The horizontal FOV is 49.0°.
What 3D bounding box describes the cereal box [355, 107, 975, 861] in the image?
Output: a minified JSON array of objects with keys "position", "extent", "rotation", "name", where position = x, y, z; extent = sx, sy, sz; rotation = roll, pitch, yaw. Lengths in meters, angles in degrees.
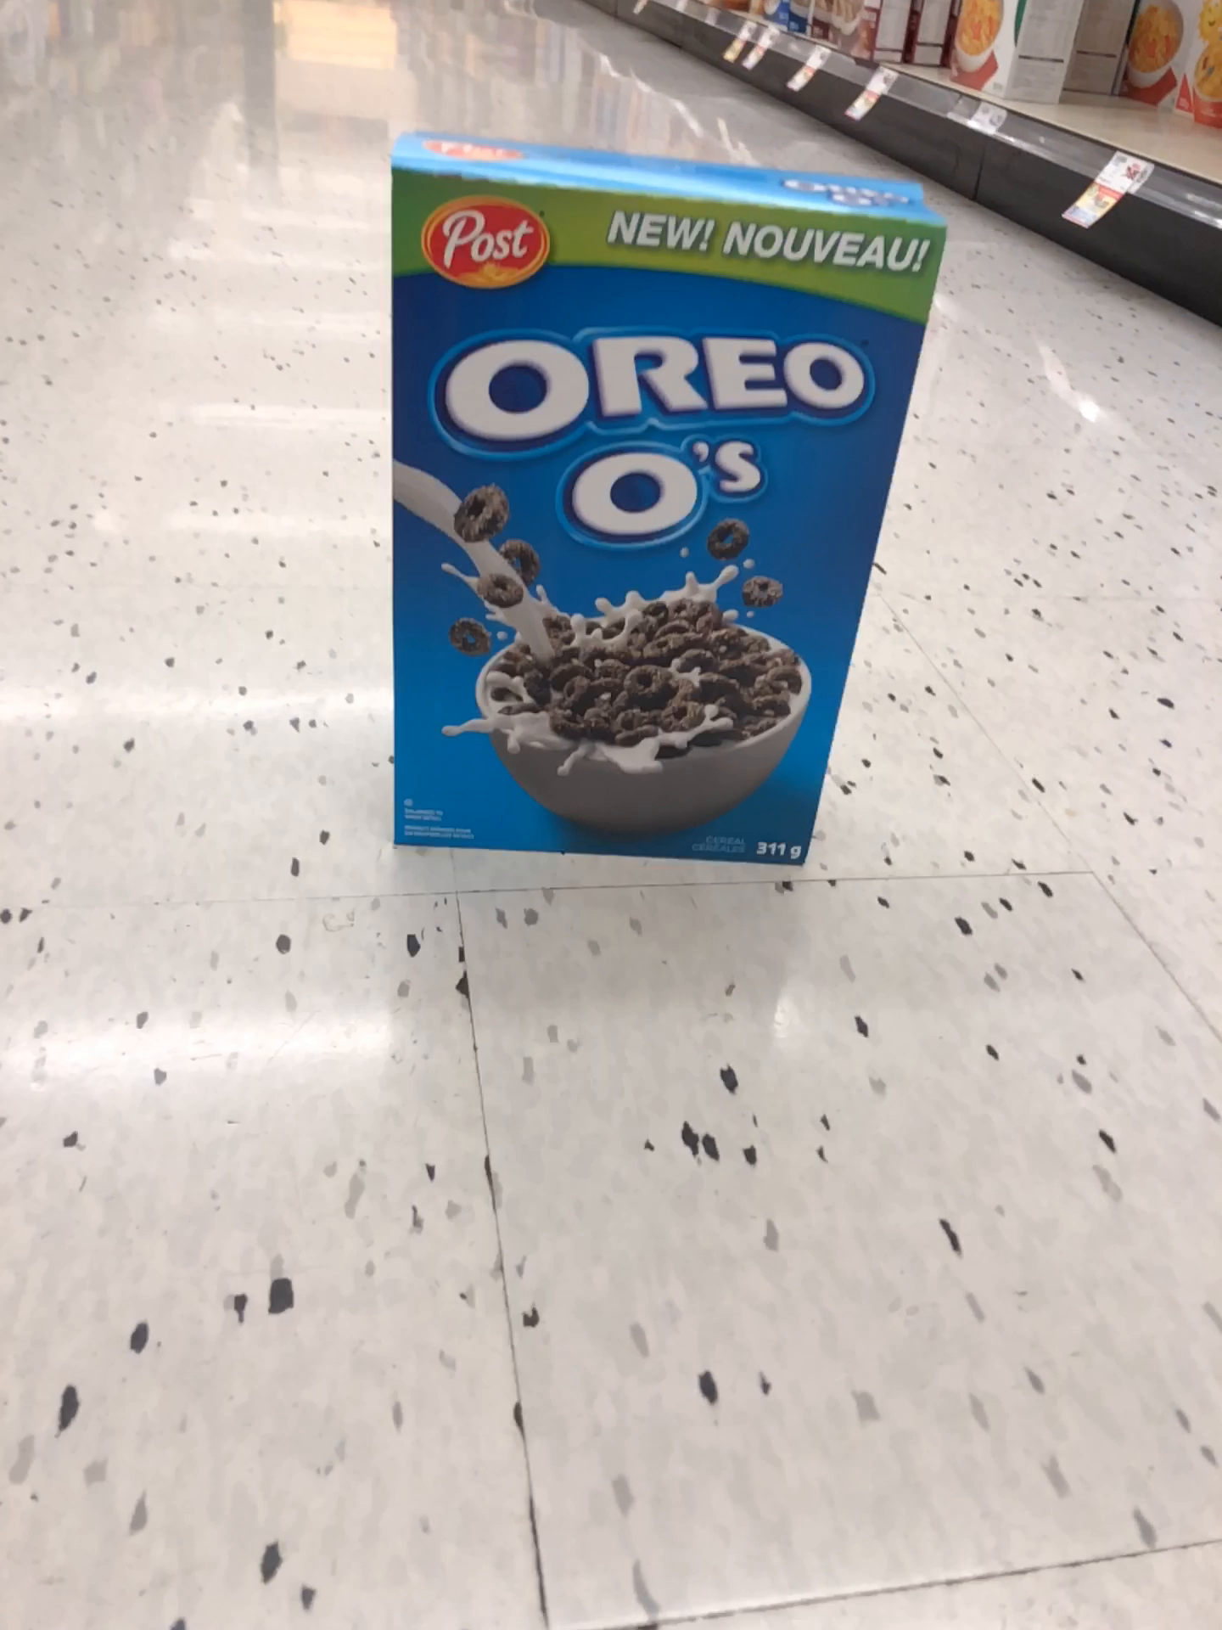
[{"position":[0.005,-0.114,0.529],"extent":[0.200,0.268,0.060],"rotation":[4,33,-4],"name":"cereal box"}]
